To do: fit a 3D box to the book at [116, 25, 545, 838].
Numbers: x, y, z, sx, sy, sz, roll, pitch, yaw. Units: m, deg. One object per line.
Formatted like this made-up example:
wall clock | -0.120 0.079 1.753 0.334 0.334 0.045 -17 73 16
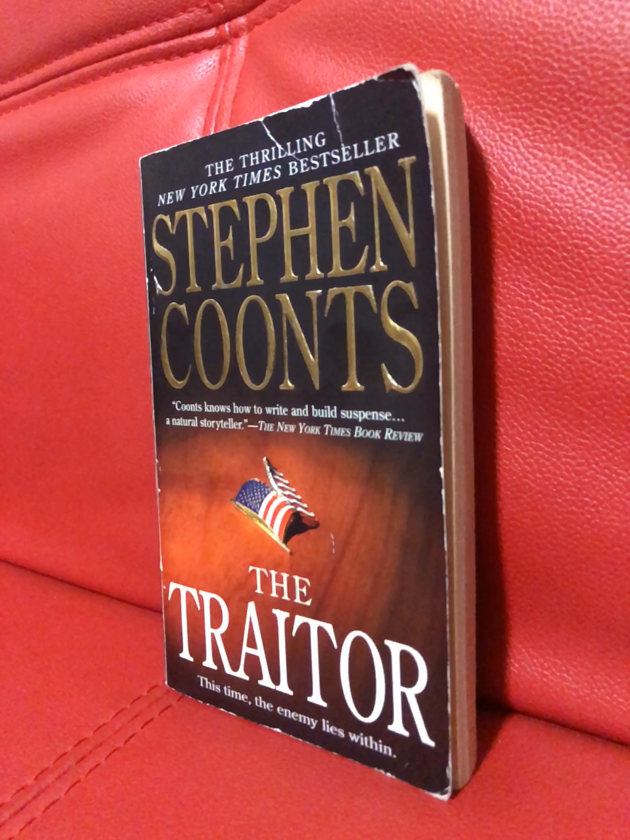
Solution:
book | -0.001 0.002 0.207 0.120 0.180 0.040 3 5 35
